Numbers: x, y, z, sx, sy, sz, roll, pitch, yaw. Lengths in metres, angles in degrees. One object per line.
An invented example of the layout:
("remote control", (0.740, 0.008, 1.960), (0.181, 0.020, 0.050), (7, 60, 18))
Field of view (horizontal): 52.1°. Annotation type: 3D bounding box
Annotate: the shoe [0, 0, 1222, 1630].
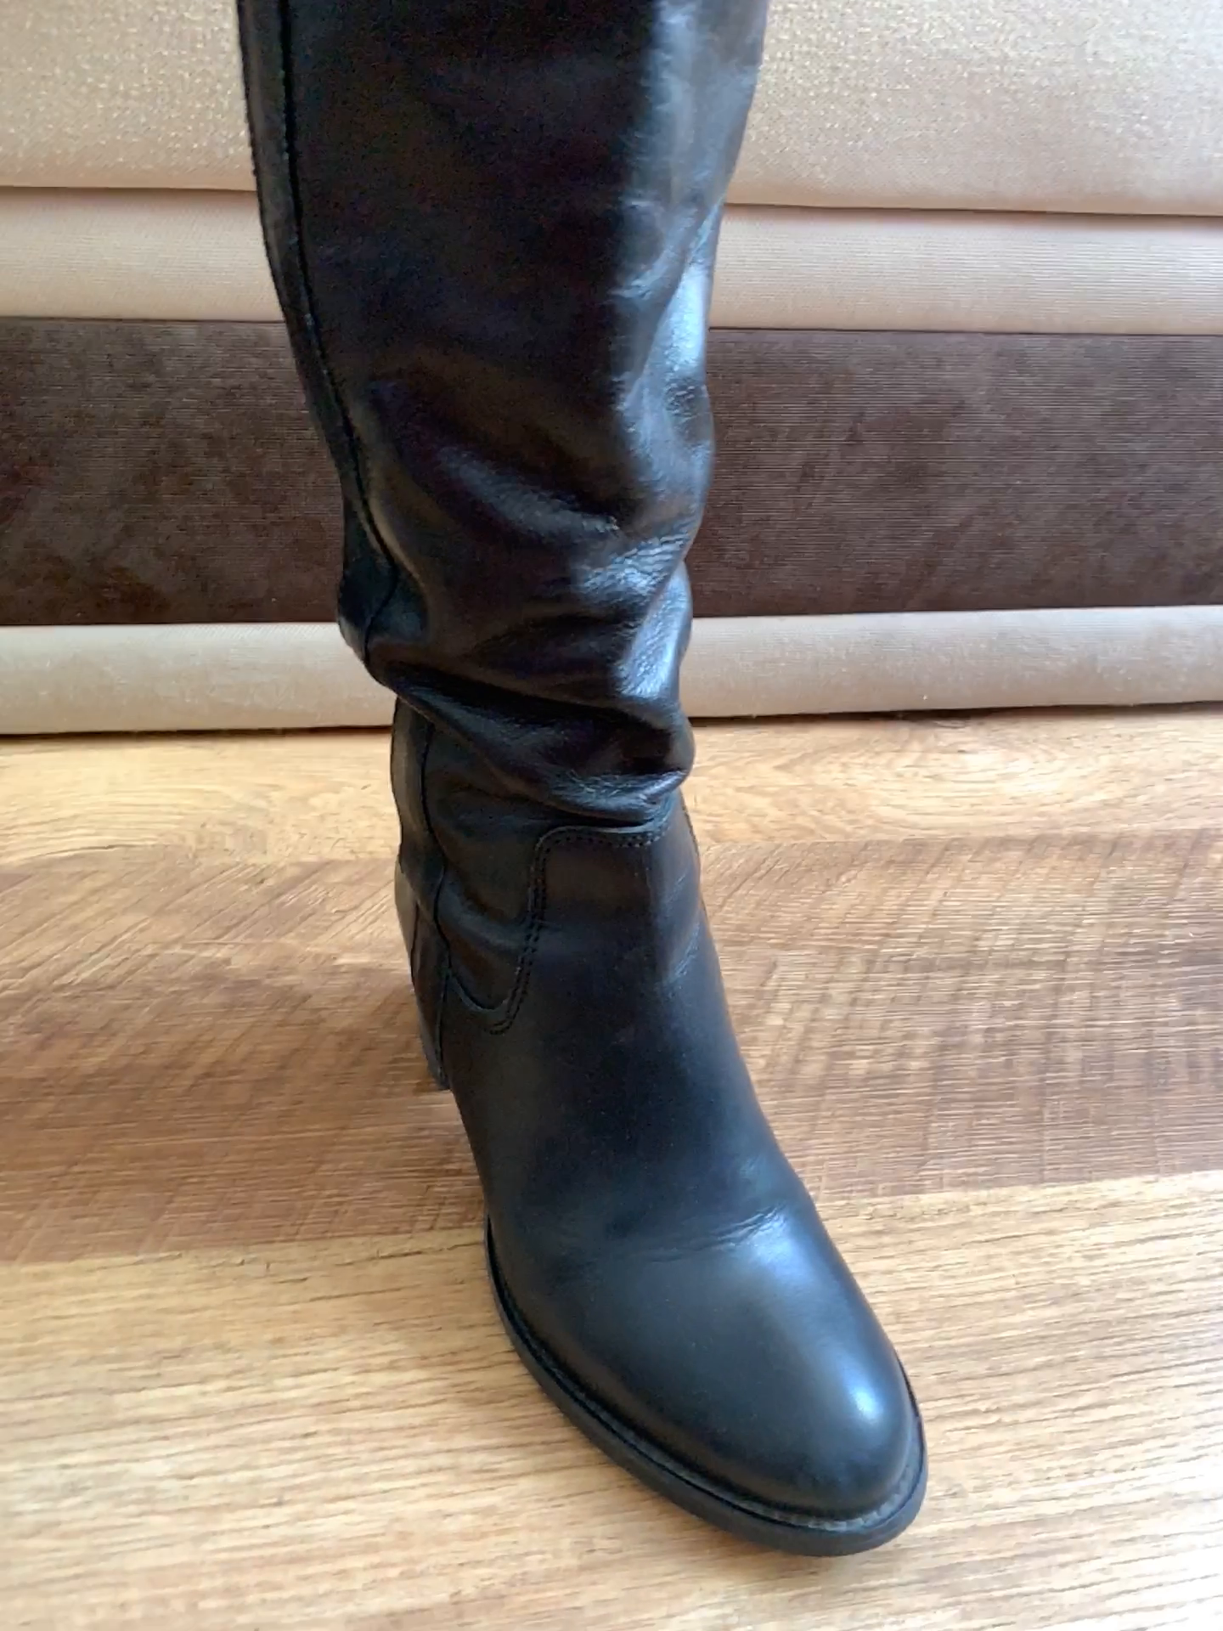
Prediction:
("shoe", (0.015, -0.092, 0.217), (0.100, 0.497, 0.211), (-17, 38, -28))
